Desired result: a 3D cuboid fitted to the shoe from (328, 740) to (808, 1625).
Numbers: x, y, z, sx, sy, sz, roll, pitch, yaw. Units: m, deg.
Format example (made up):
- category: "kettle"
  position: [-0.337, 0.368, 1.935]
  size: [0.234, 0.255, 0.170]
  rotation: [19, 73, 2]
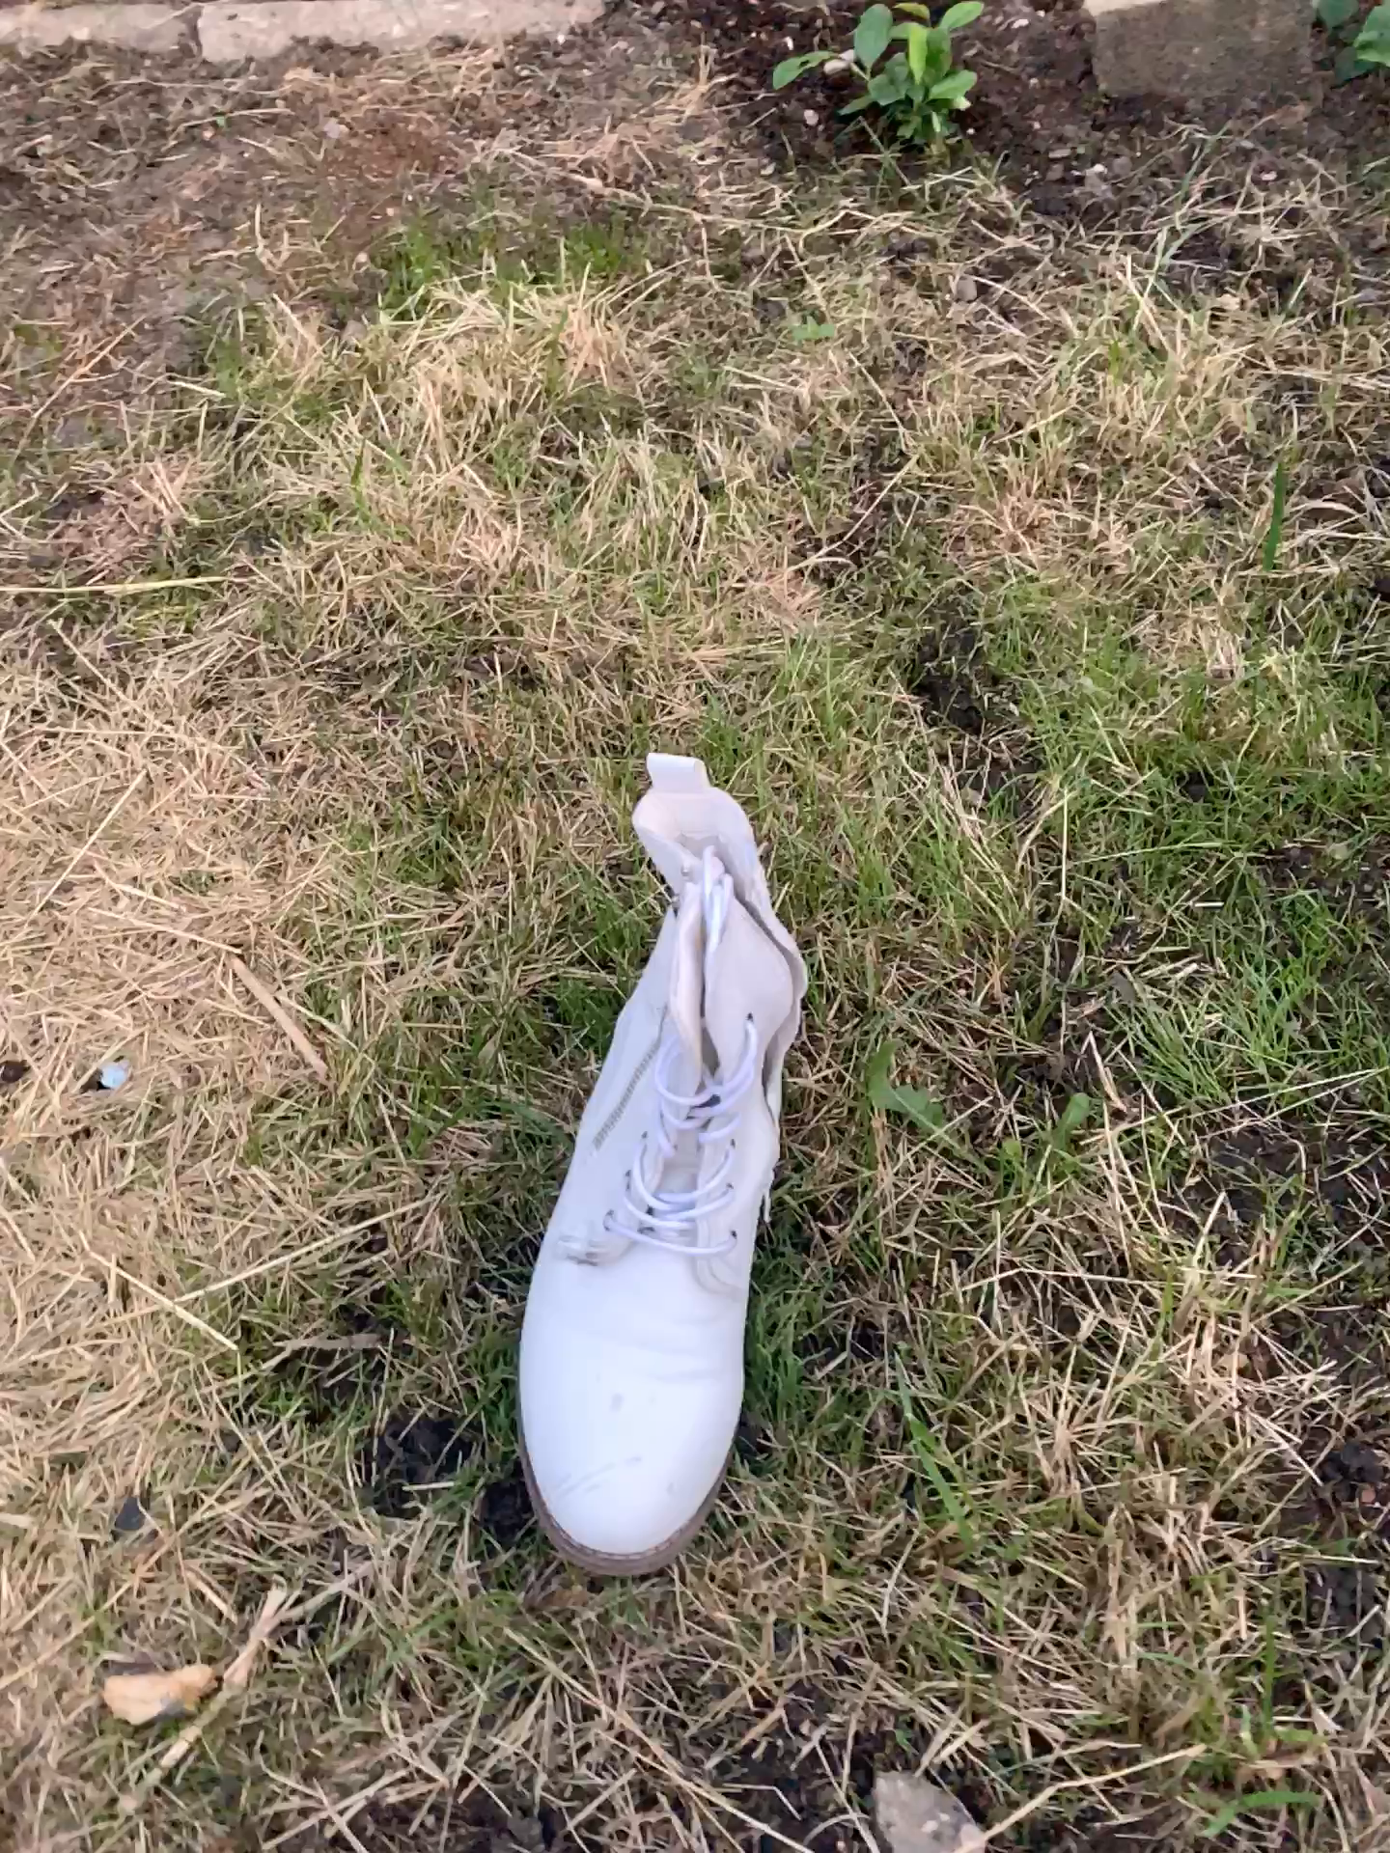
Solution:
- category: "shoe"
  position: [-0.023, 0.090, 0.527]
  size: [0.100, 0.178, 0.262]
  rotation: [5, 52, 9]
